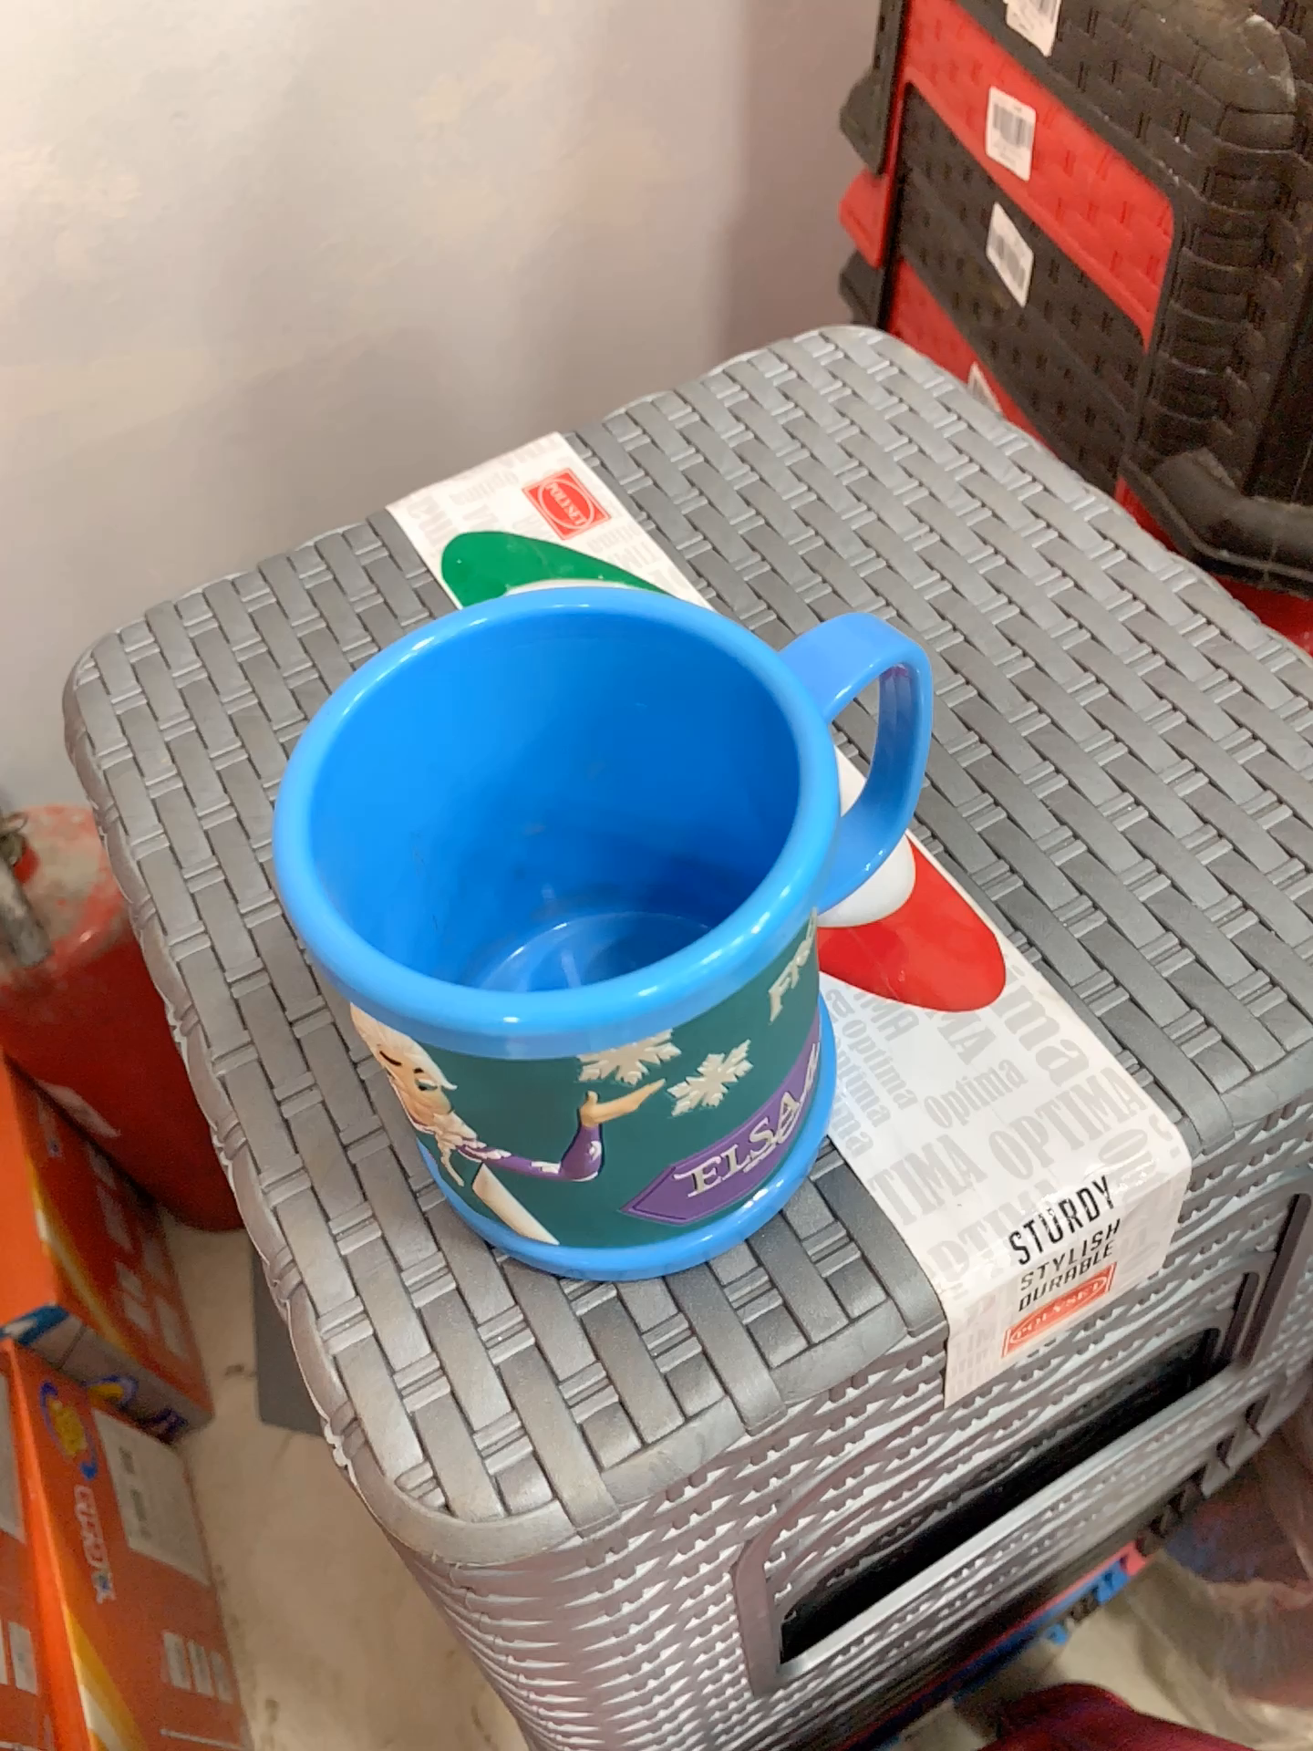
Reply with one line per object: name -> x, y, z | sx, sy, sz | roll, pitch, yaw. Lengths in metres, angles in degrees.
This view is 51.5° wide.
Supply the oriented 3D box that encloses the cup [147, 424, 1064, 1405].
cup -> 0.000, 0.007, 0.229 | 0.078, 0.099, 0.107 | 32, 64, 26
